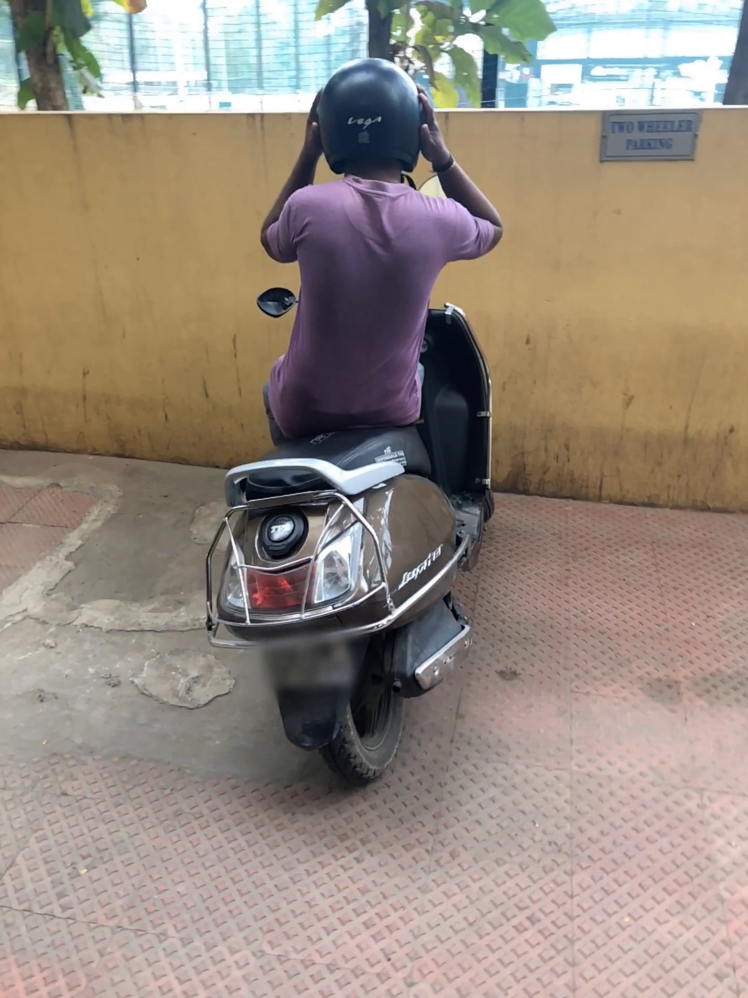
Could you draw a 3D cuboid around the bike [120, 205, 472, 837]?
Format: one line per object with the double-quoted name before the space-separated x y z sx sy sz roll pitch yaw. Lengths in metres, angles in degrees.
"bike" -0.055 -0.157 2.483 0.643 1.182 1.723 3 26 7
